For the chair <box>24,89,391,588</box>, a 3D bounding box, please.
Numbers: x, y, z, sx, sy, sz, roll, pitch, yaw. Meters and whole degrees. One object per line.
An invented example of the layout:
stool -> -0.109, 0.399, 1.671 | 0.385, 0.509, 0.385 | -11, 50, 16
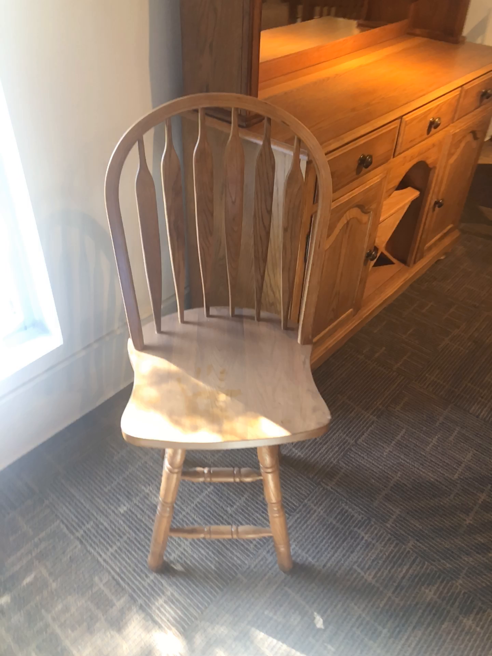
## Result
chair -> -0.071, 0.073, 1.239 | 0.480, 1.025, 0.543 | -1, 39, -3
